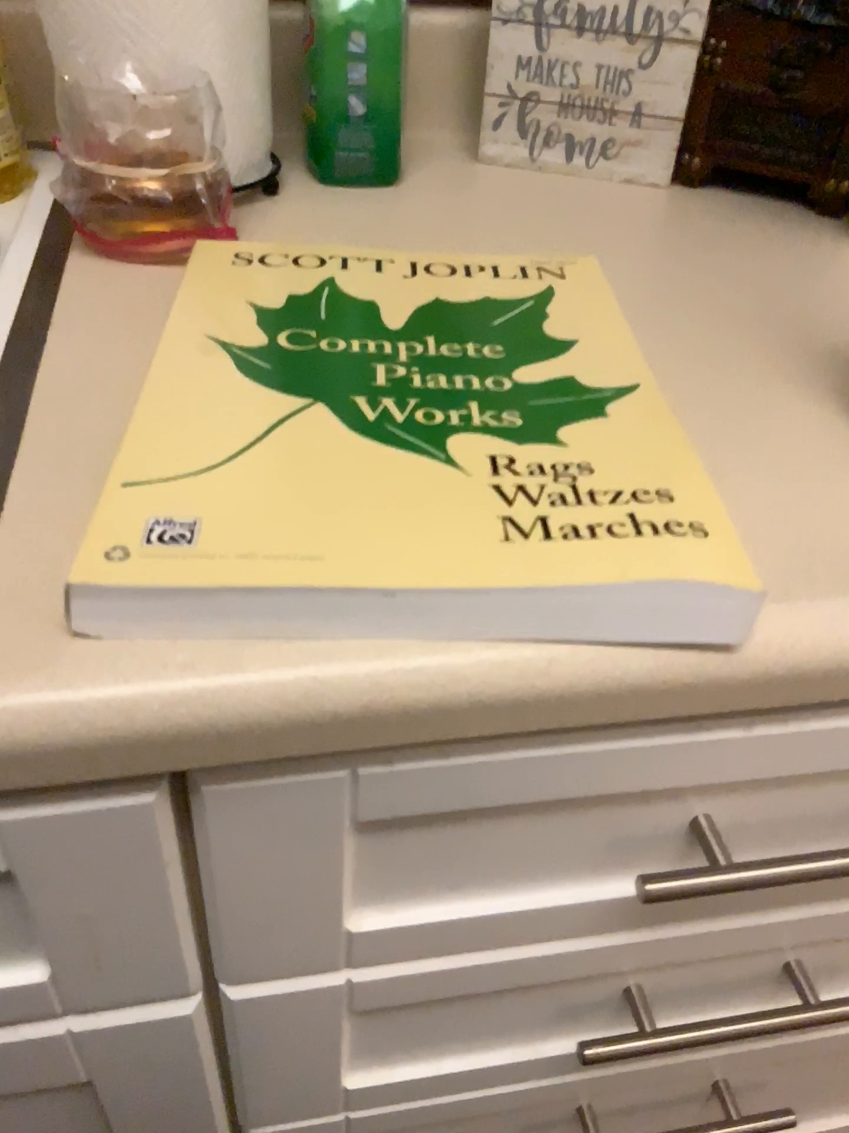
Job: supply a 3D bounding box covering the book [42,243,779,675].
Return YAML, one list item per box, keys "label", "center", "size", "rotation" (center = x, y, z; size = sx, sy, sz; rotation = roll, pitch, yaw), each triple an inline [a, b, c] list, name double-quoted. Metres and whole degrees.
- label: "book"
  center: [-0.009, -0.075, 0.439]
  size: [0.240, 0.030, 0.320]
  rotation: [1, 38, -4]
